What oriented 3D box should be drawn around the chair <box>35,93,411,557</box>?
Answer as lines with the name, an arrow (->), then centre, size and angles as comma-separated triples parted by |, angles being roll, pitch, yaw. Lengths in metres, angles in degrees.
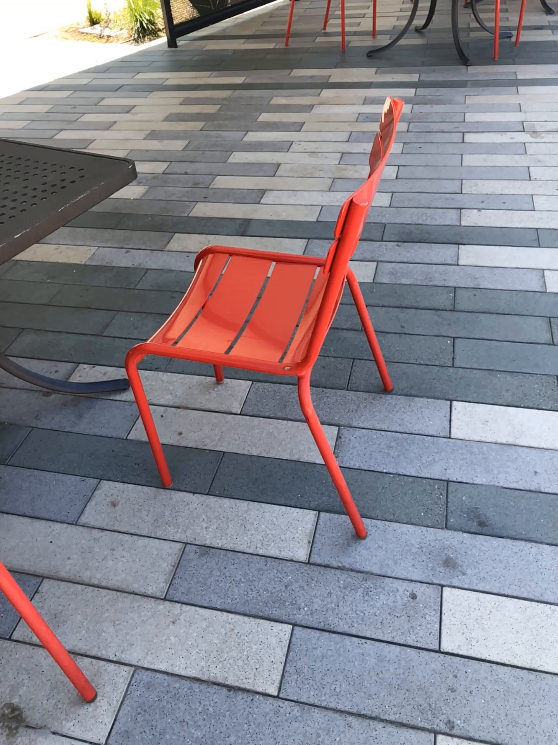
chair -> -0.033, -0.114, 1.574 | 0.630, 0.955, 0.613 | 5, 41, 12
